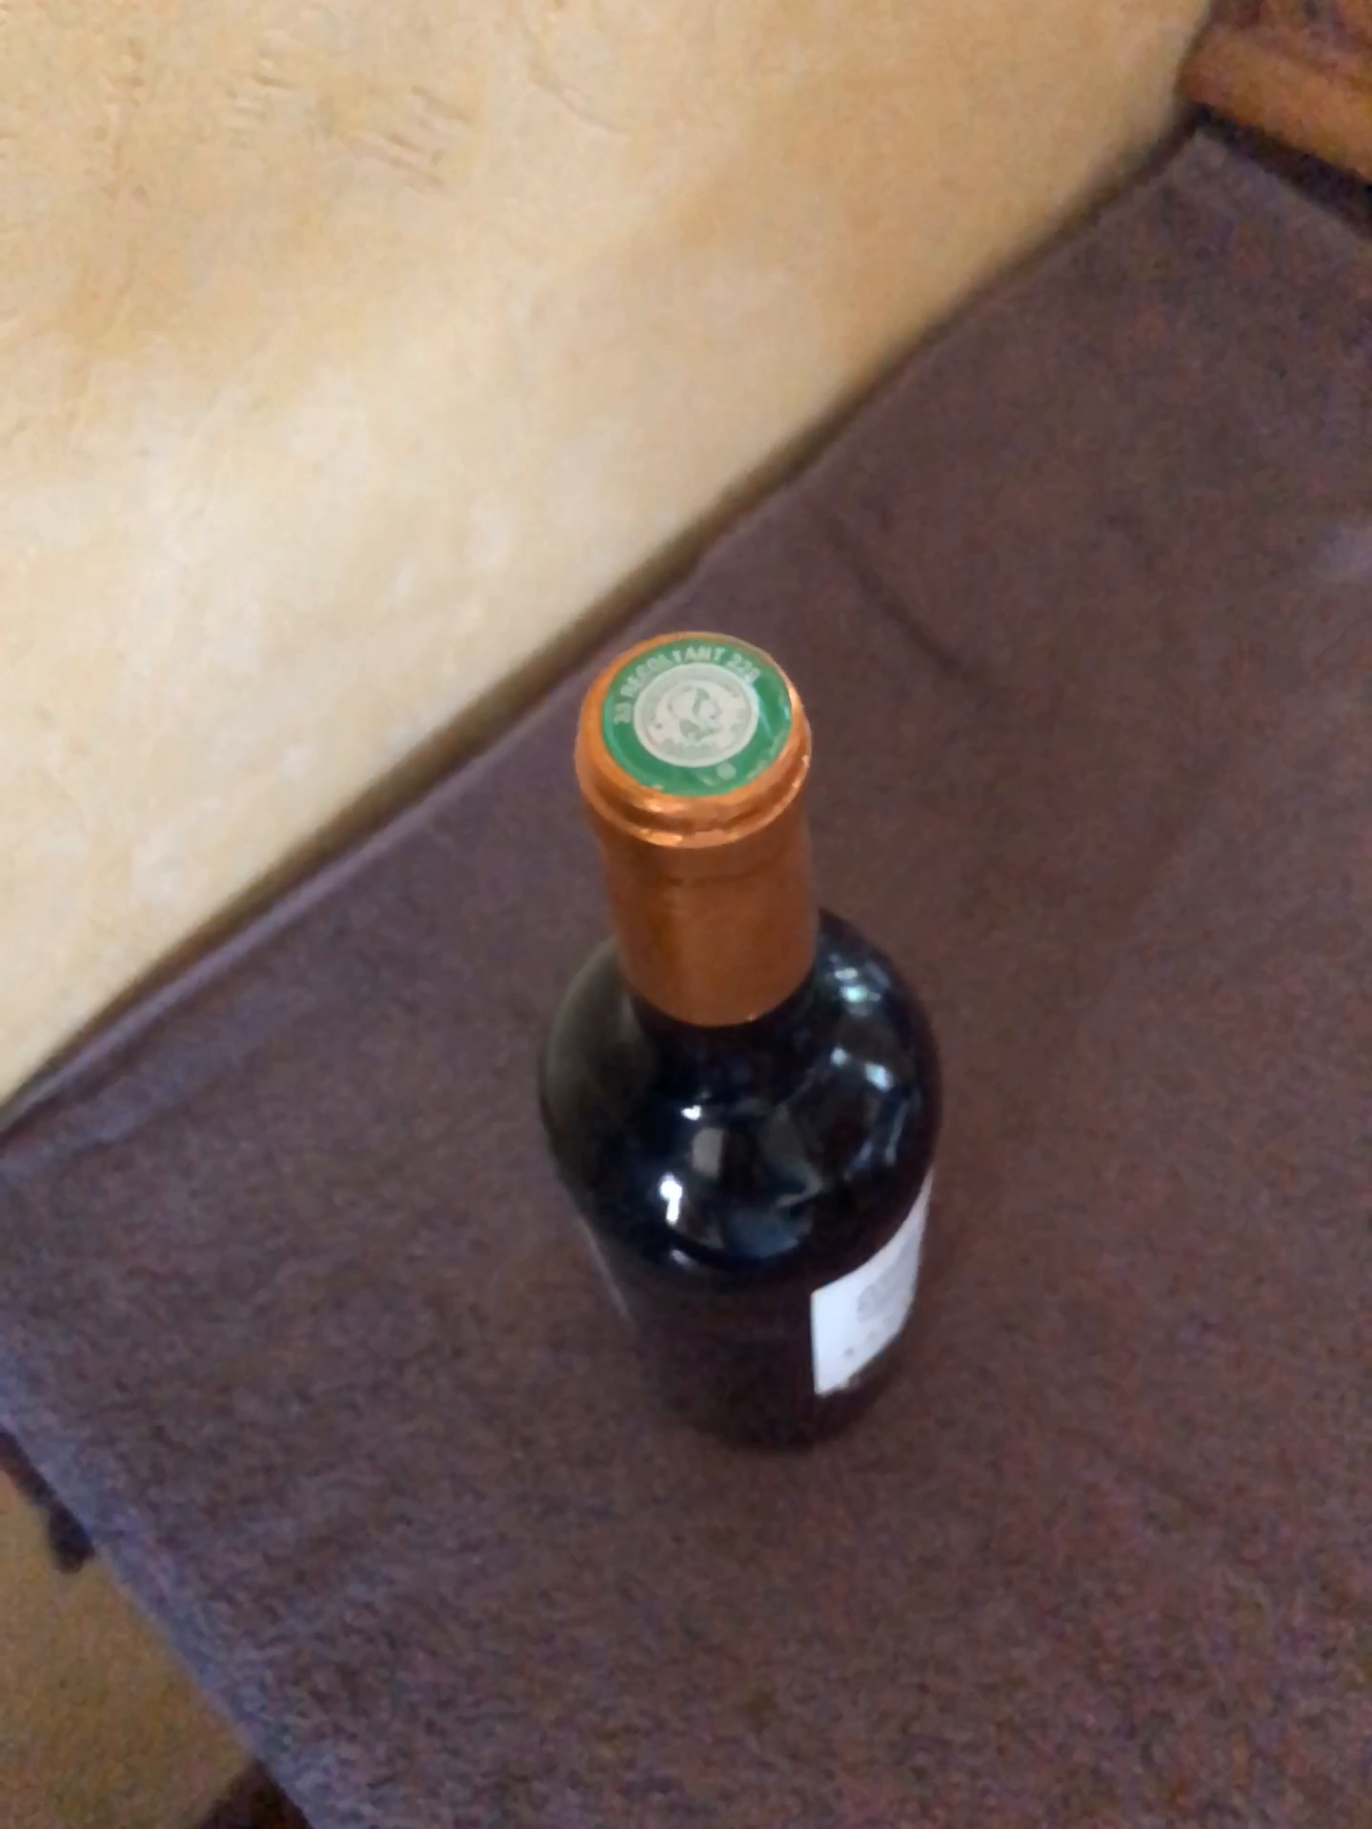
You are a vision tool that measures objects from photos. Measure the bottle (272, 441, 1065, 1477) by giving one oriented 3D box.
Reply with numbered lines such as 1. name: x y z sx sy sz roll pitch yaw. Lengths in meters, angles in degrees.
1. bottle: 0.013 0.045 0.316 0.080 0.299 0.080 -2 63 4
